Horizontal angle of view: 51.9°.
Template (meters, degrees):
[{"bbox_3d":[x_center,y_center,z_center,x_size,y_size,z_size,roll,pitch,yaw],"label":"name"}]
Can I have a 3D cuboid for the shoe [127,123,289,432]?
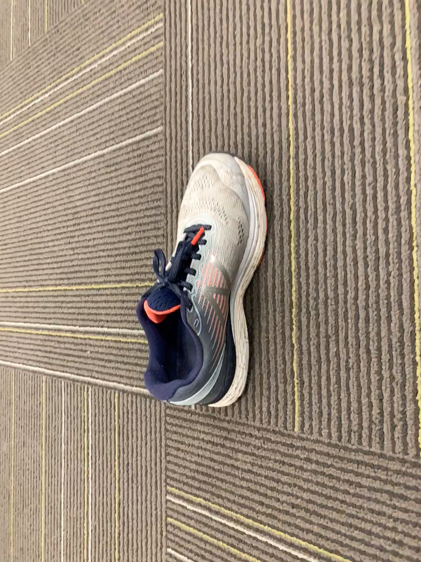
[{"bbox_3d":[-0.007,-0.006,0.477,0.131,0.079,0.290,8,94,42],"label":"shoe"}]
